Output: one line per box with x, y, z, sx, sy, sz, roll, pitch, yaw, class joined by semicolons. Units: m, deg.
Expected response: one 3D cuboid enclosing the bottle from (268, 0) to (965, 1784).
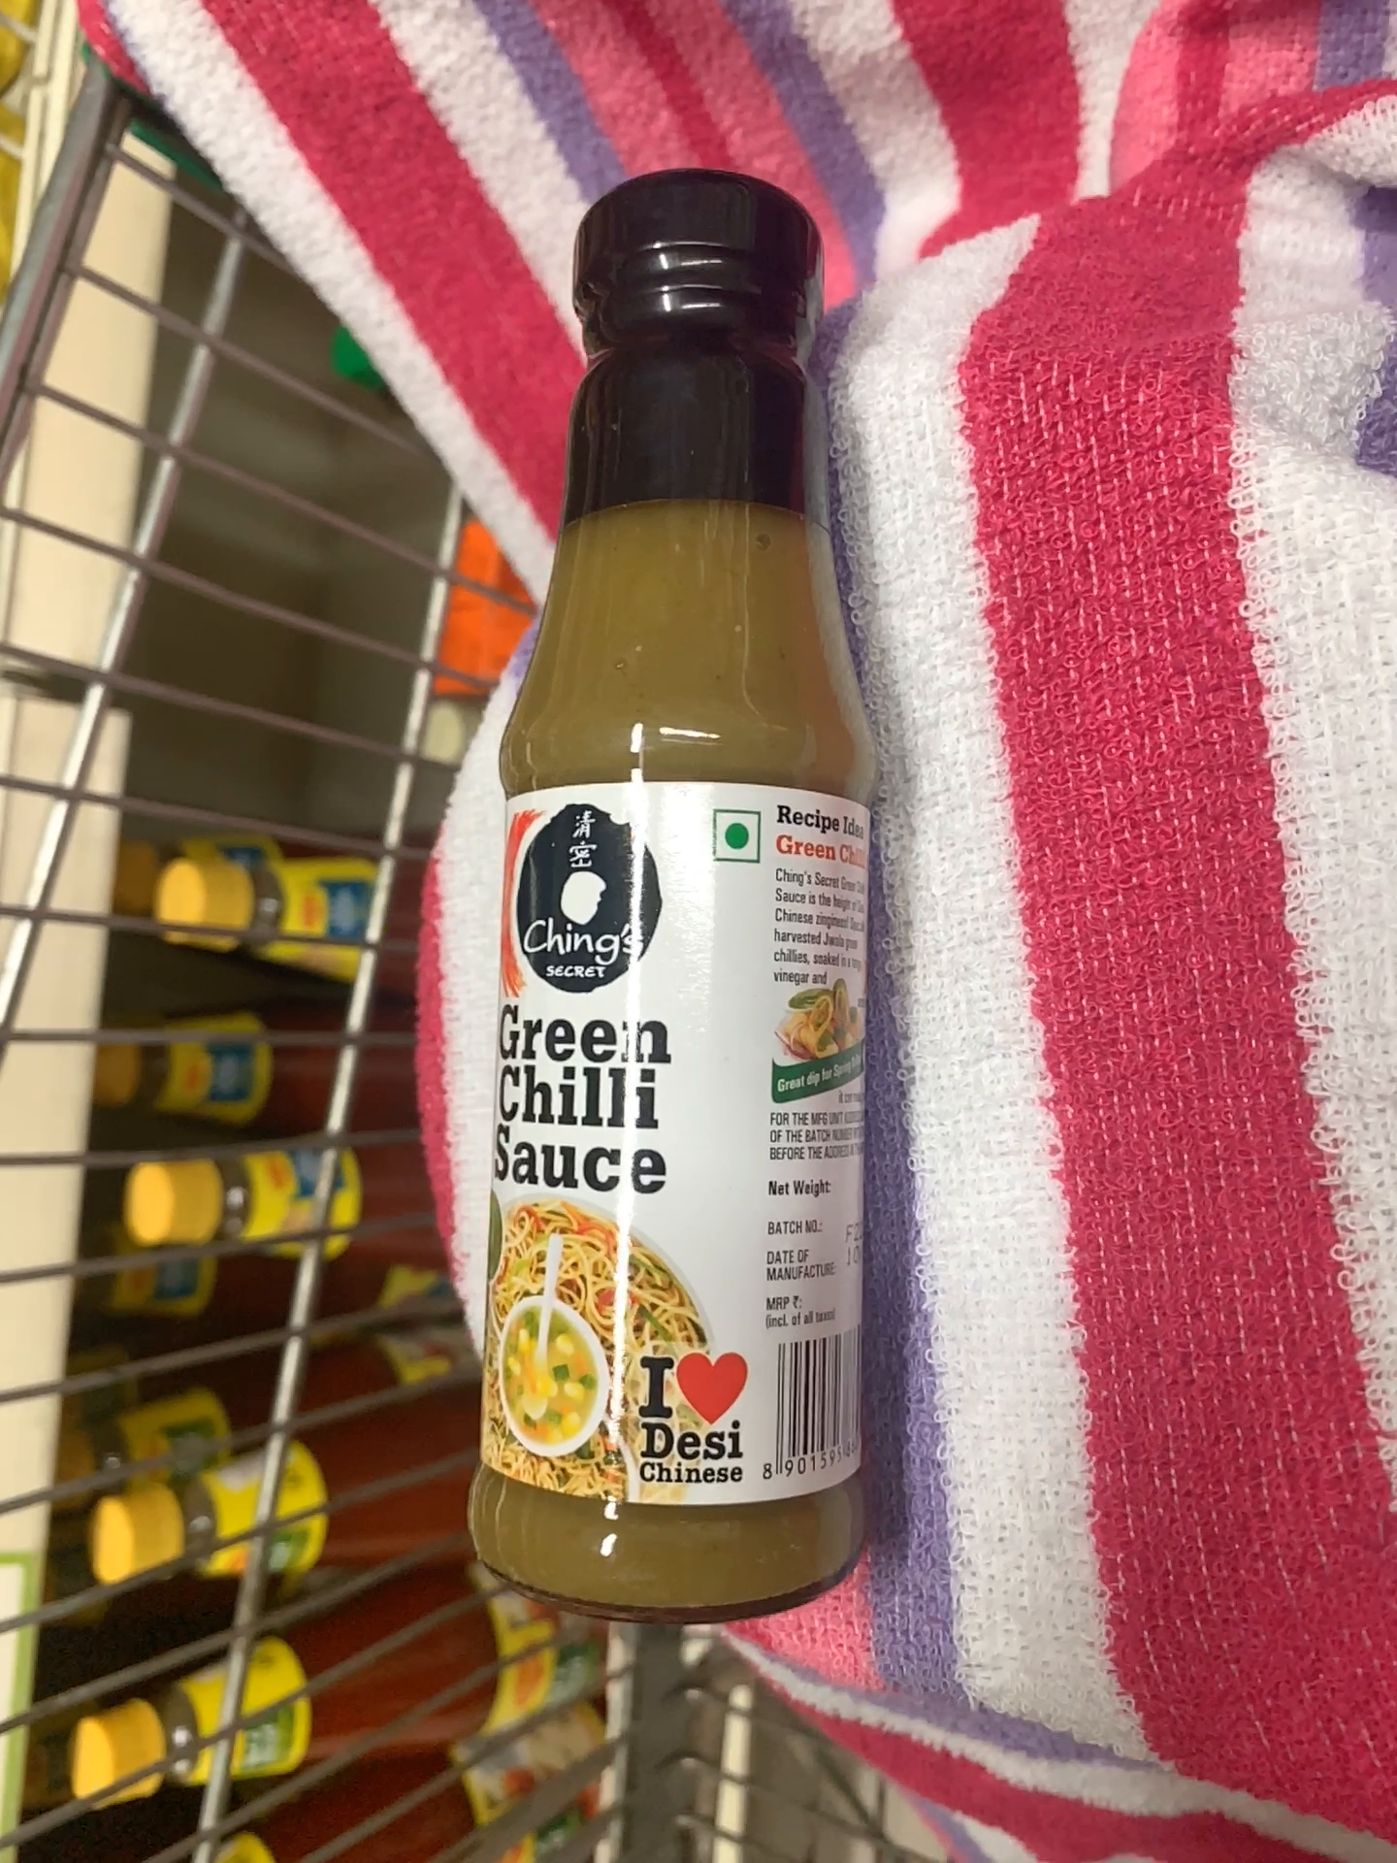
-0.007;-0.012;0.163;0.050;0.050;0.170;-3;82;42;bottle
